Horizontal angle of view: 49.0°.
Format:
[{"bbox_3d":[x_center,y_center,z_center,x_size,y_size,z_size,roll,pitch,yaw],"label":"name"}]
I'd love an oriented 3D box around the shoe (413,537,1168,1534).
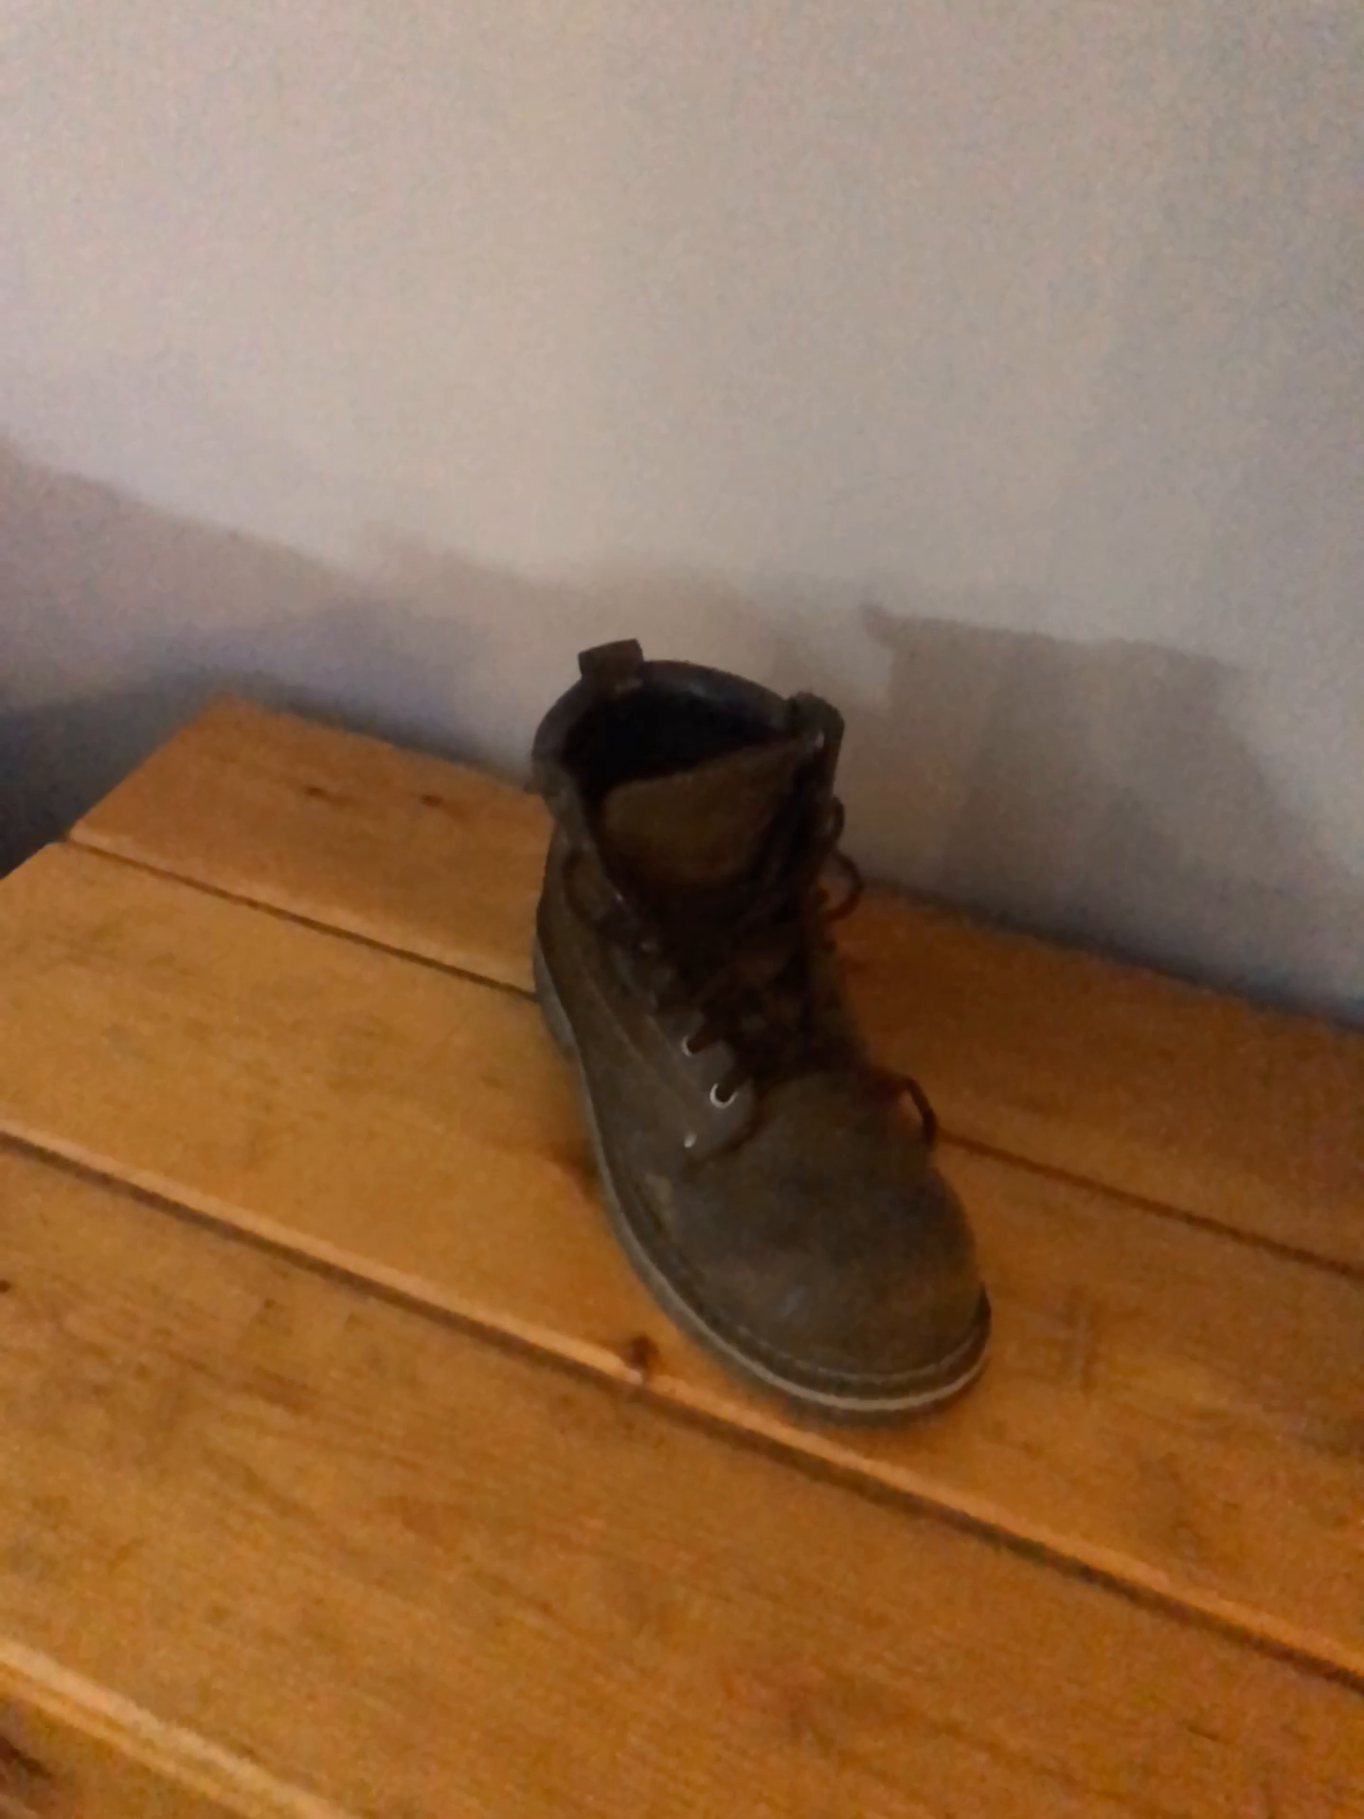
[{"bbox_3d":[0.010,0.026,0.575,0.130,0.189,0.321,-14,44,-19],"label":"shoe"}]
